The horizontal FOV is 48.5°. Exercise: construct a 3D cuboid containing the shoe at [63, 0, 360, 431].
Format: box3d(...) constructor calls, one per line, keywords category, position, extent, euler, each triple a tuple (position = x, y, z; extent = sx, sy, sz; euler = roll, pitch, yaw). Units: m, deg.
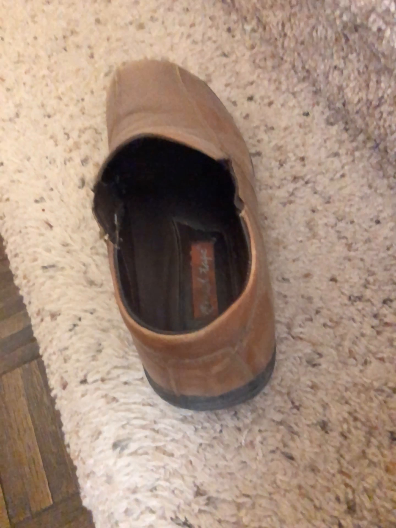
box3d(category="shoe", position=(-0.013, -0.061, 0.293), extent=(0.110, 0.120, 0.290), euler=(-12, 58, -1))
